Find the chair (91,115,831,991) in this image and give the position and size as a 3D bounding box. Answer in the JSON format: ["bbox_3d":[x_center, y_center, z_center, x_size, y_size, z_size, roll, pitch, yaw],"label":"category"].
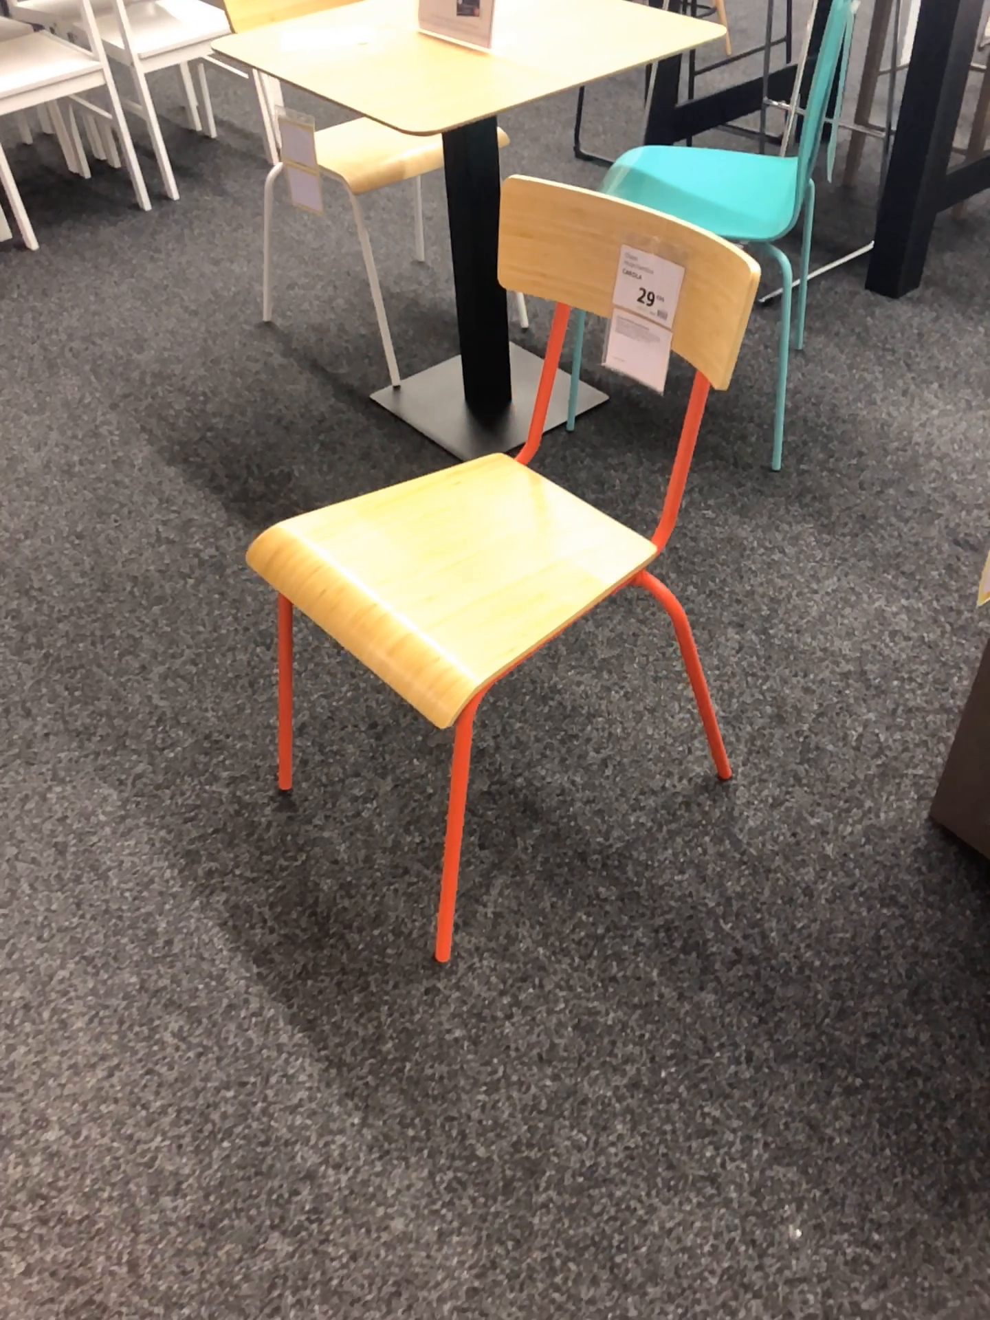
[{"bbox_3d":[-0.020,-0.132,1.370,0.562,0.815,0.501,-31,50,-26],"label":"chair"}]
